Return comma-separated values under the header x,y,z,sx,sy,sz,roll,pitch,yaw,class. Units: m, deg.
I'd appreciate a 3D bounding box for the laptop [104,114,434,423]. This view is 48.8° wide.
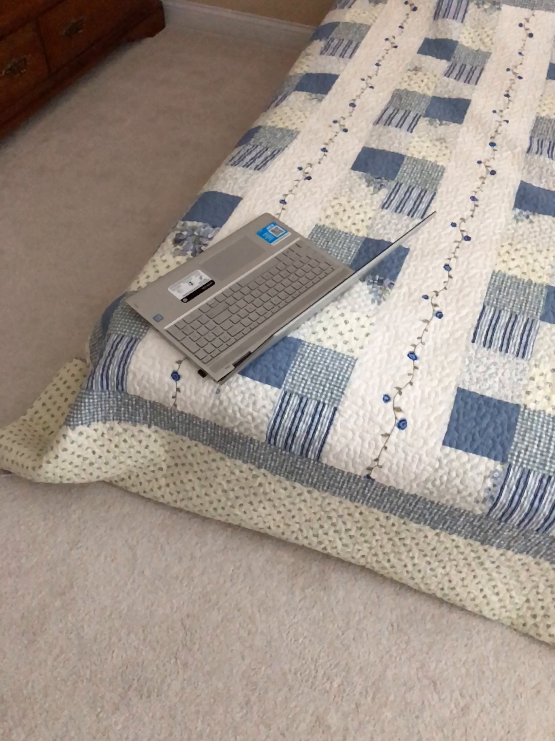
x,y,z,sx,sy,sz,roll,pitch,yaw,class
-0.014,-0.187,1.012,0.358,0.208,0.356,39,60,24,laptop
